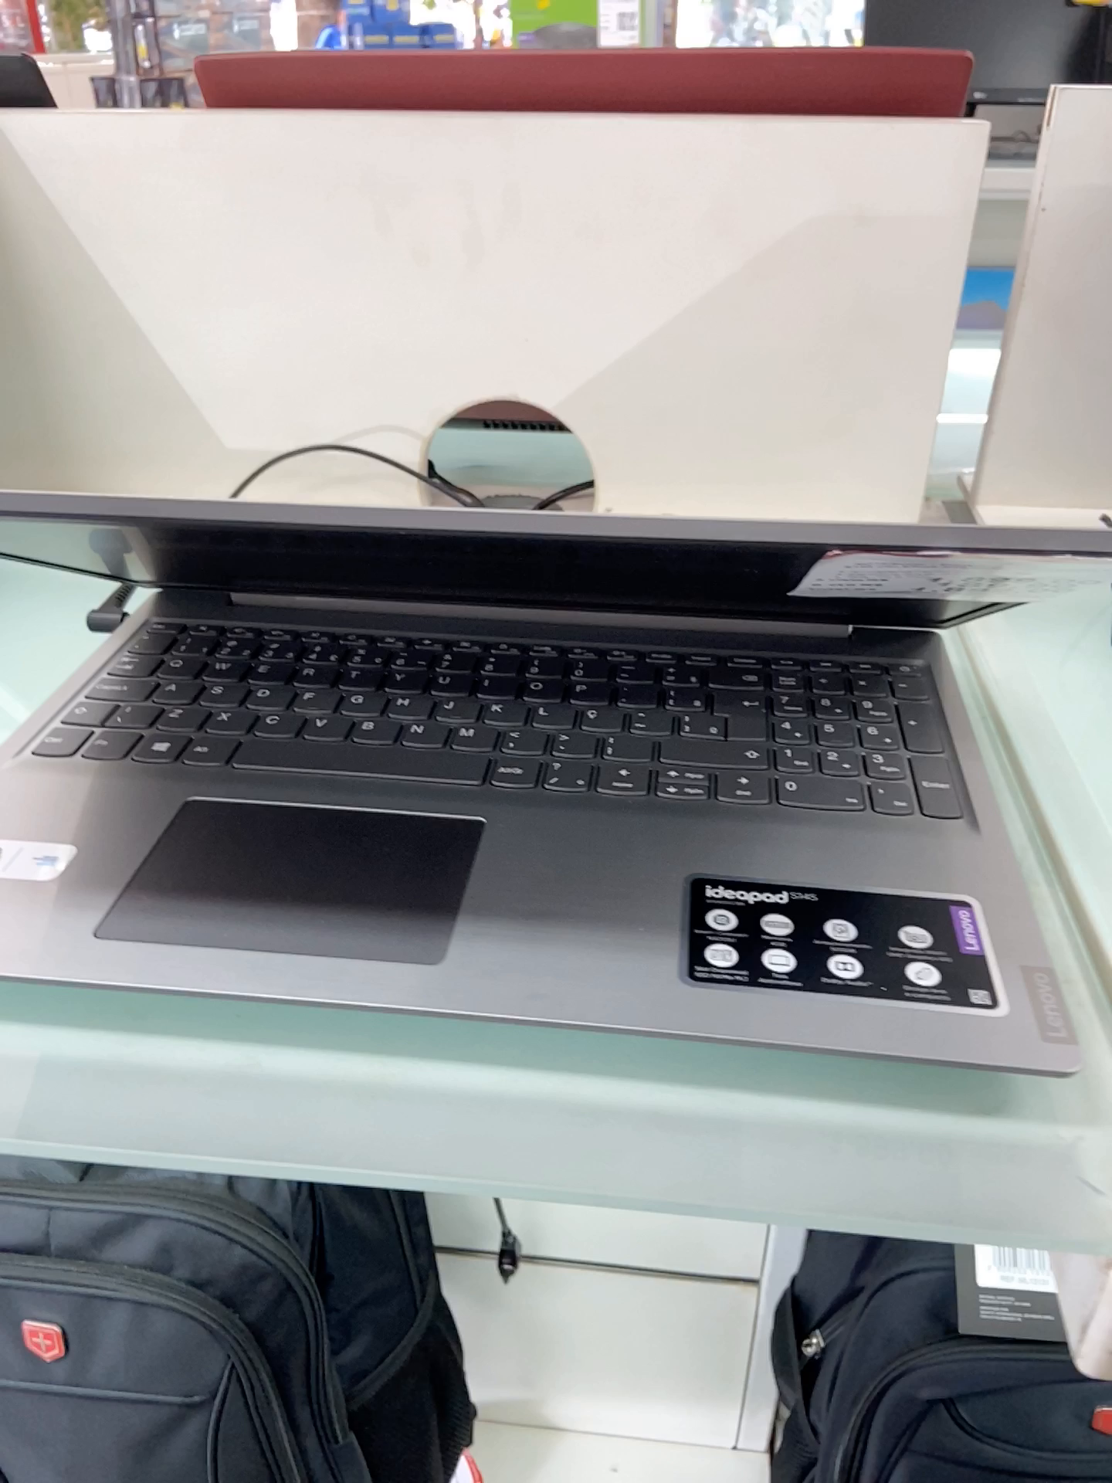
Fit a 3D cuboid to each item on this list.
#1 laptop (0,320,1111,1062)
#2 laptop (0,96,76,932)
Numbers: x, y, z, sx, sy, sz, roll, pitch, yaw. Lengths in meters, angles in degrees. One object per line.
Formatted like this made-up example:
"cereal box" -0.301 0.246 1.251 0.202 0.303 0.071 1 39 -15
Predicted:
"laptop" -0.031 -0.047 0.391 0.363 0.127 0.251 3 32 6
"laptop" -0.518 -0.142 0.483 0.409 0.202 0.385 4 32 8
